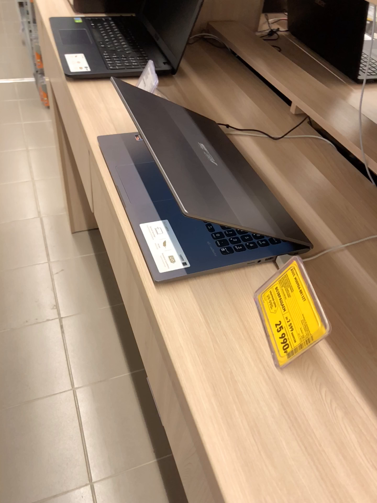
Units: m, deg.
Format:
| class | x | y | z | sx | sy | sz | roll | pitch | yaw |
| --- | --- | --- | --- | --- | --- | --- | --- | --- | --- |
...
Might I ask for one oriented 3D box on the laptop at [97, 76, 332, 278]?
| class | x | y | z | sx | sy | sz | roll | pitch | yaw |
| --- | --- | --- | --- | --- | --- | --- | --- | --- | --- |
| laptop | 0.011 | -0.144 | 0.643 | 0.233 | 0.111 | 0.350 | -10 | 46 | -18 |
